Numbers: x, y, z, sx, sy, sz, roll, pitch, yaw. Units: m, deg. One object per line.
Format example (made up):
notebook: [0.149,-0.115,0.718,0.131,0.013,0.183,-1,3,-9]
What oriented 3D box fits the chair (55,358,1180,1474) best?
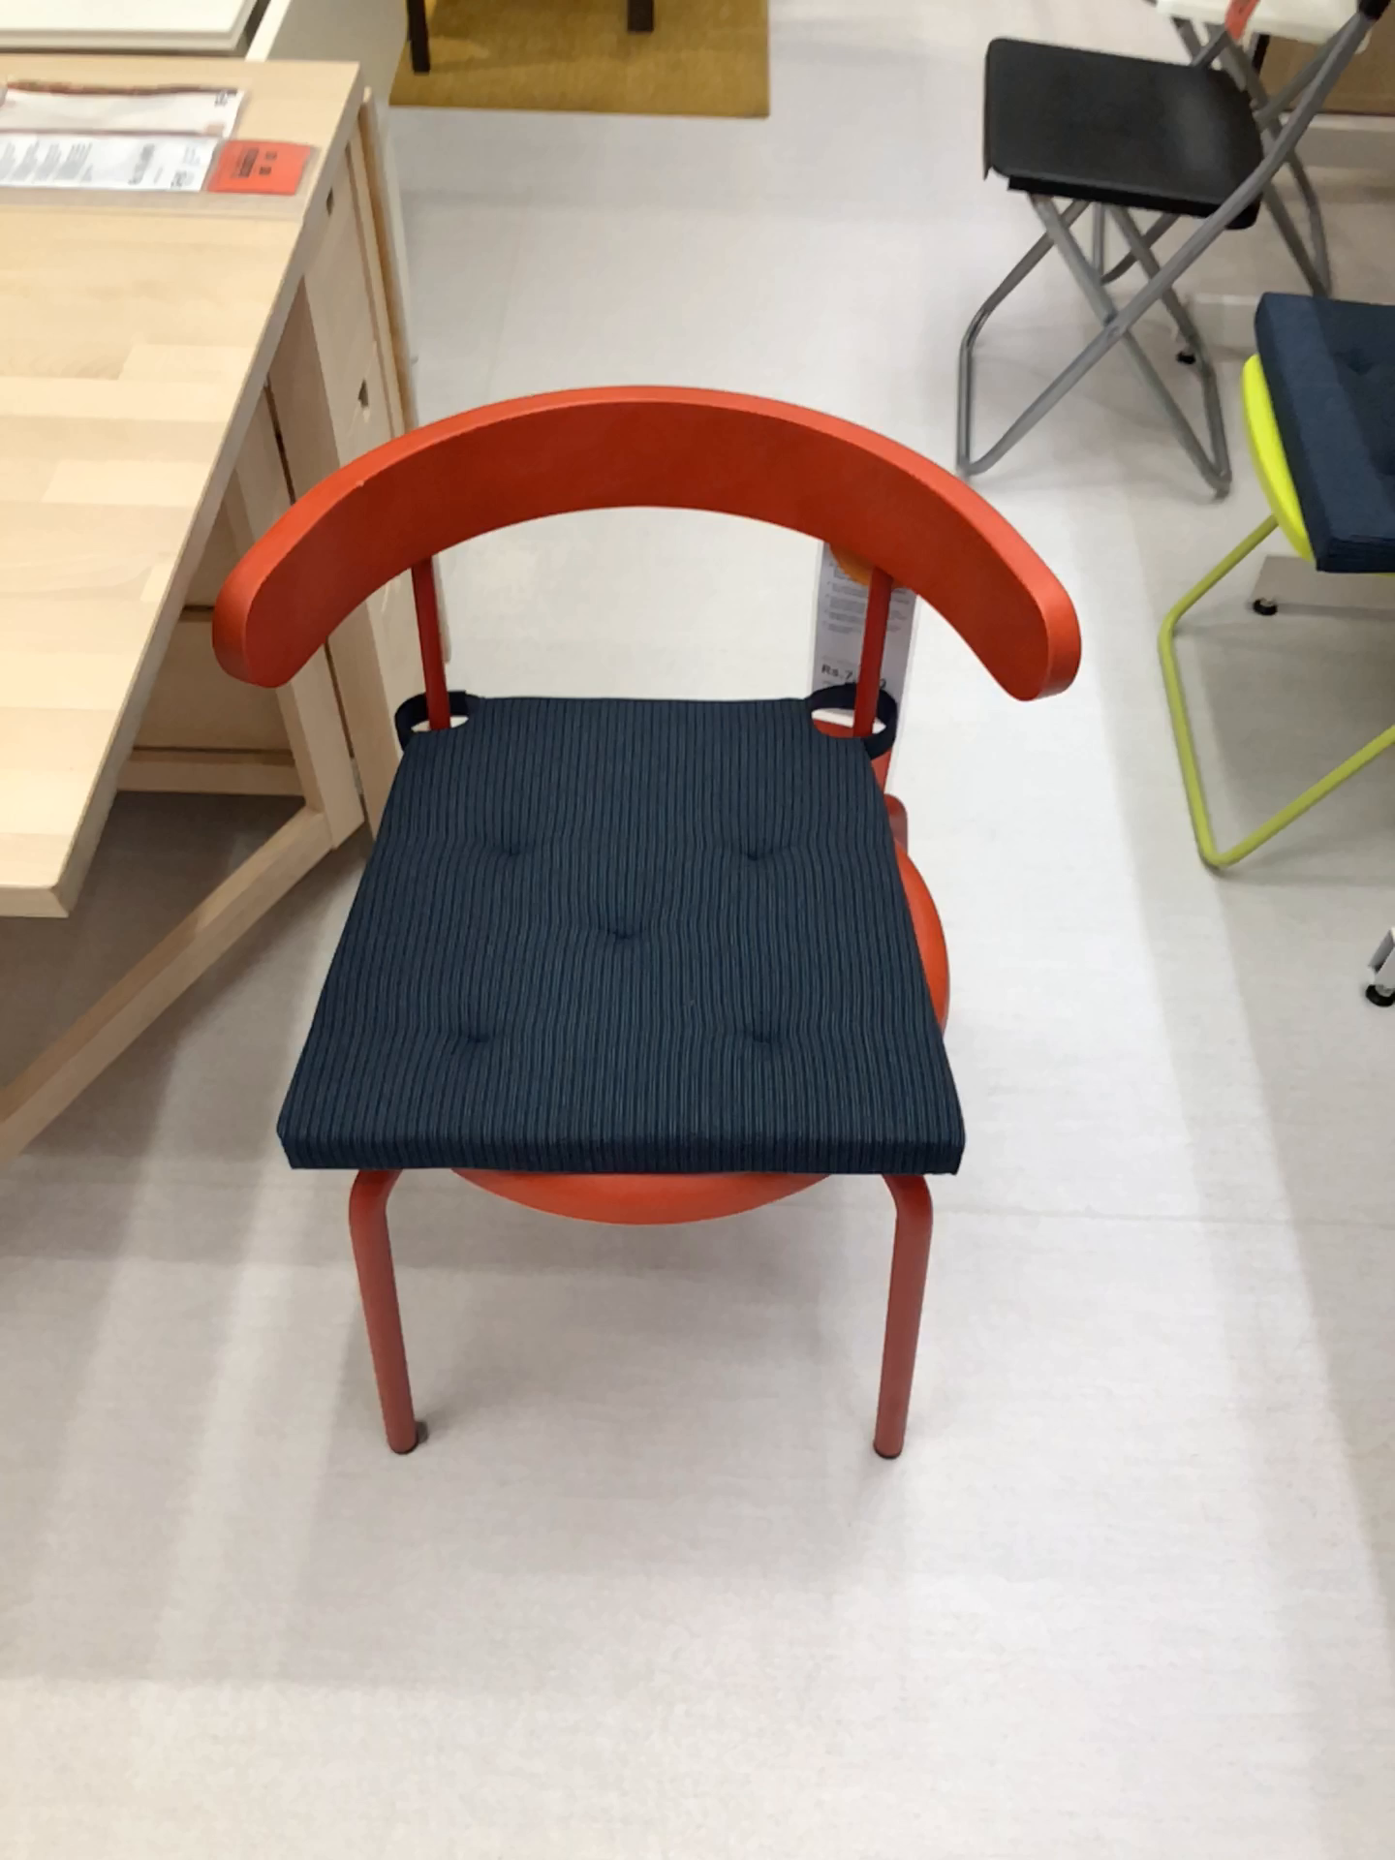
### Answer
chair: [-0.041,0.030,1.131,0.520,0.676,0.503,1,52,-1]
